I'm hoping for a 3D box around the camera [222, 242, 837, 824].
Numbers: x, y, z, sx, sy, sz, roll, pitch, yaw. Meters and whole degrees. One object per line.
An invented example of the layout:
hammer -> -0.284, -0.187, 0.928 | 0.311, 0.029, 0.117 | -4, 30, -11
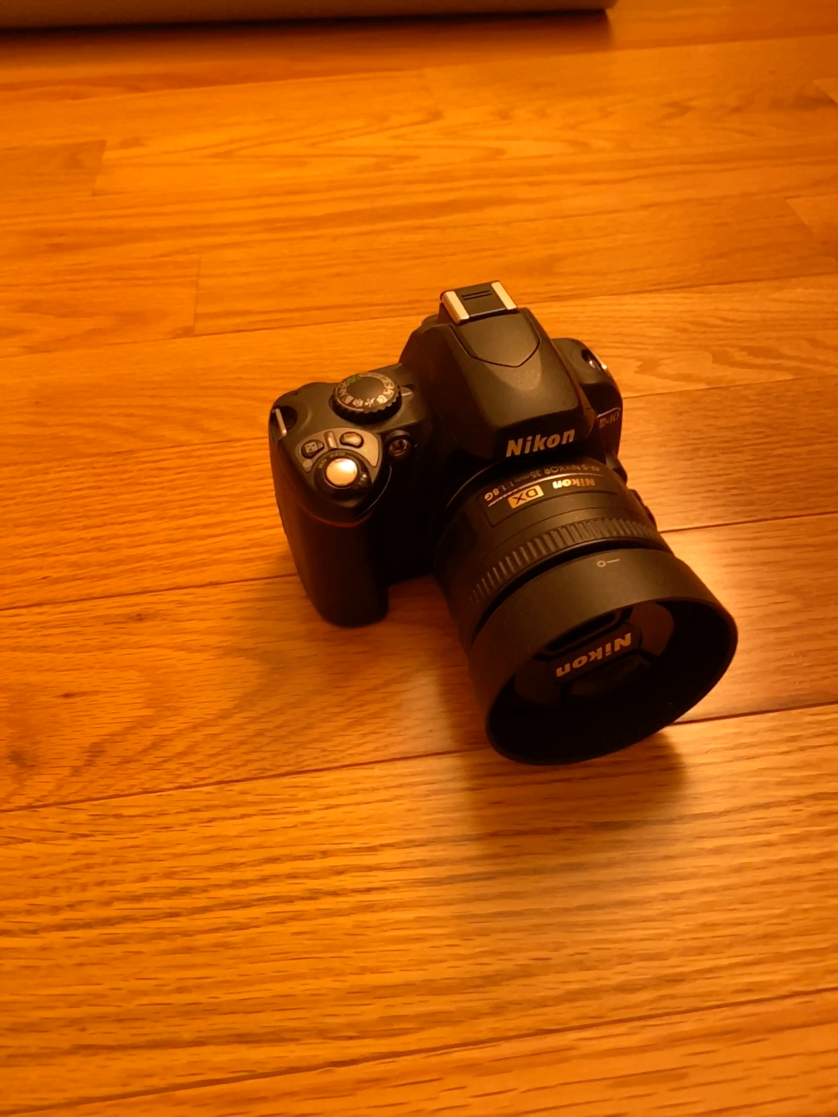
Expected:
camera -> 0.021, -0.017, 0.270 | 0.130, 0.080, 0.141 | -14, 49, -9
